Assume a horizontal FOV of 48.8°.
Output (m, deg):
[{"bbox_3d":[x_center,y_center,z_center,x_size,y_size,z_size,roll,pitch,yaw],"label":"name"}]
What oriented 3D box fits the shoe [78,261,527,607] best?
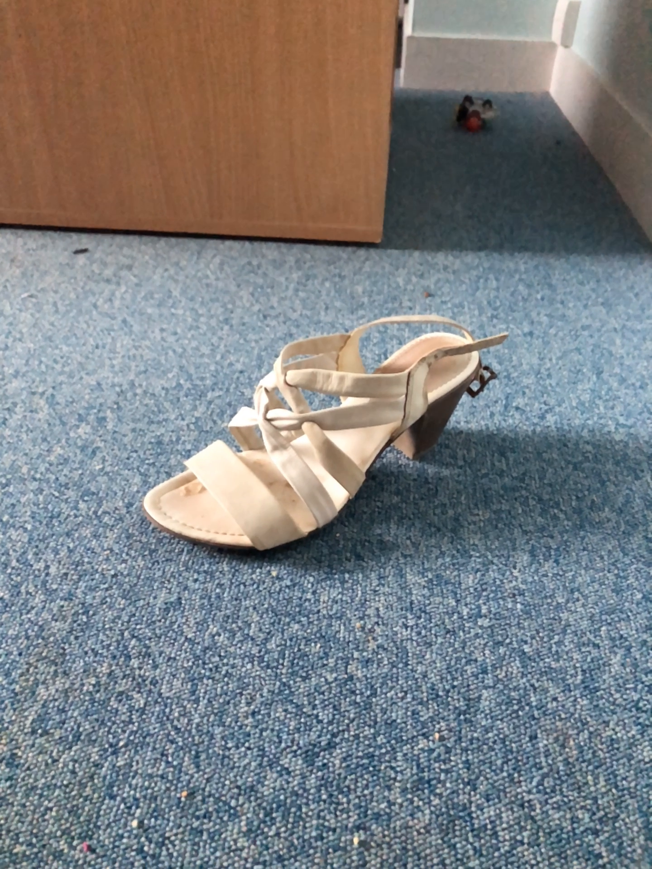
[{"bbox_3d":[-0.008,-0.013,0.446,0.241,0.109,0.100,-20,43,-26],"label":"shoe"}]
